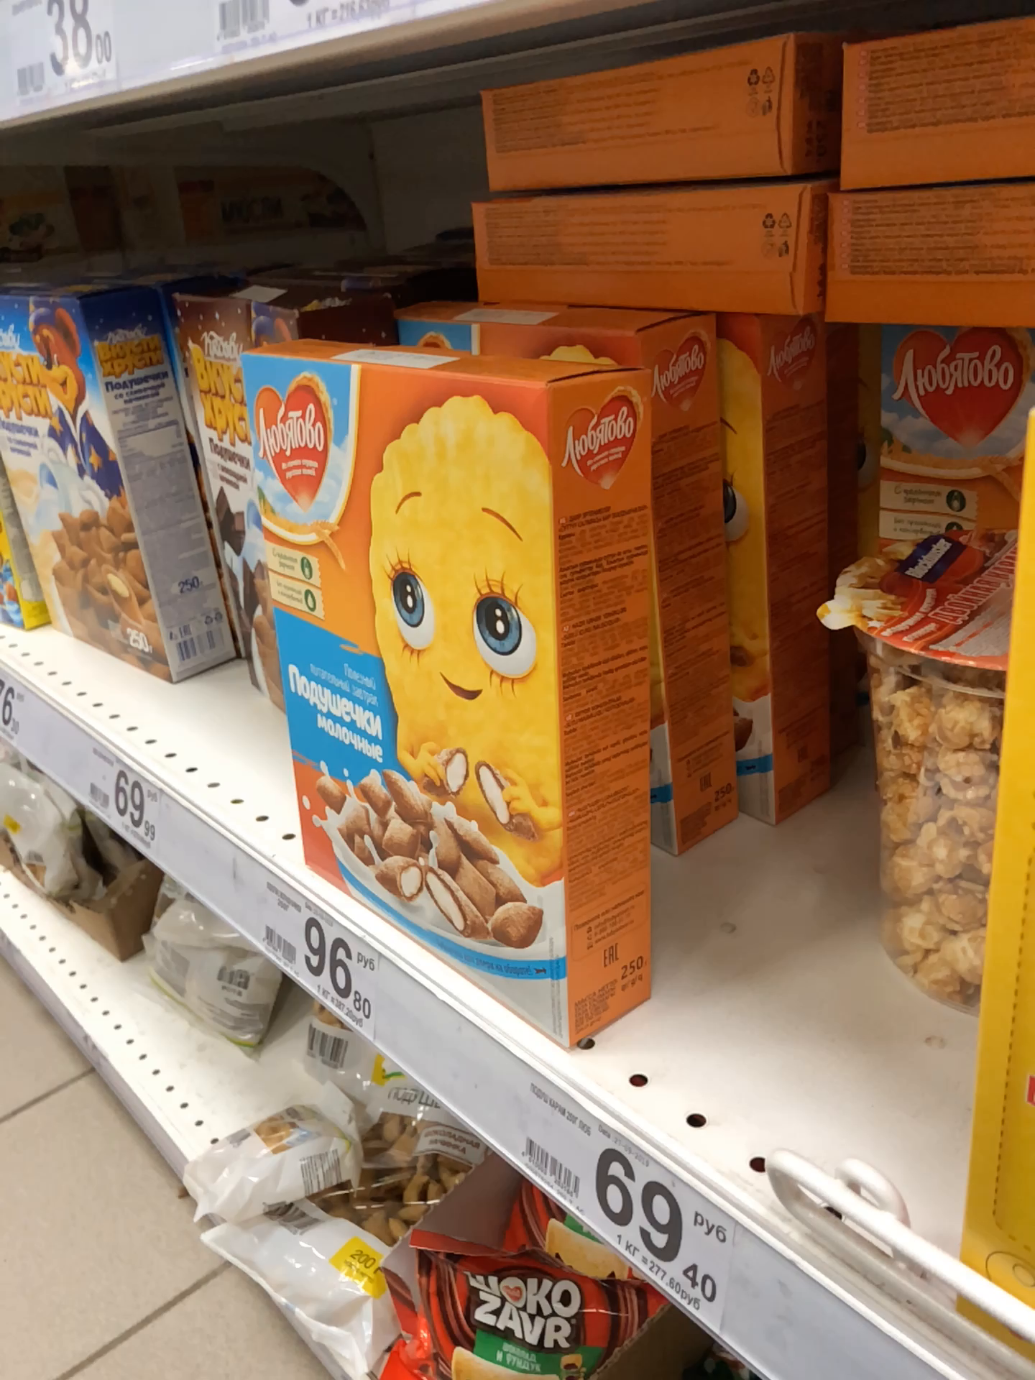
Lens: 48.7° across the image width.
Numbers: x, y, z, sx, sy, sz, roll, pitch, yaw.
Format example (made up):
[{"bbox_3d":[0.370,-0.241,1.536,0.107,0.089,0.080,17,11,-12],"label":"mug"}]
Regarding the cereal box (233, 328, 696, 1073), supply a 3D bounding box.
[{"bbox_3d":[-0.022,-0.007,0.420,0.050,0.229,0.181,-21,29,-37],"label":"cereal box"}]
